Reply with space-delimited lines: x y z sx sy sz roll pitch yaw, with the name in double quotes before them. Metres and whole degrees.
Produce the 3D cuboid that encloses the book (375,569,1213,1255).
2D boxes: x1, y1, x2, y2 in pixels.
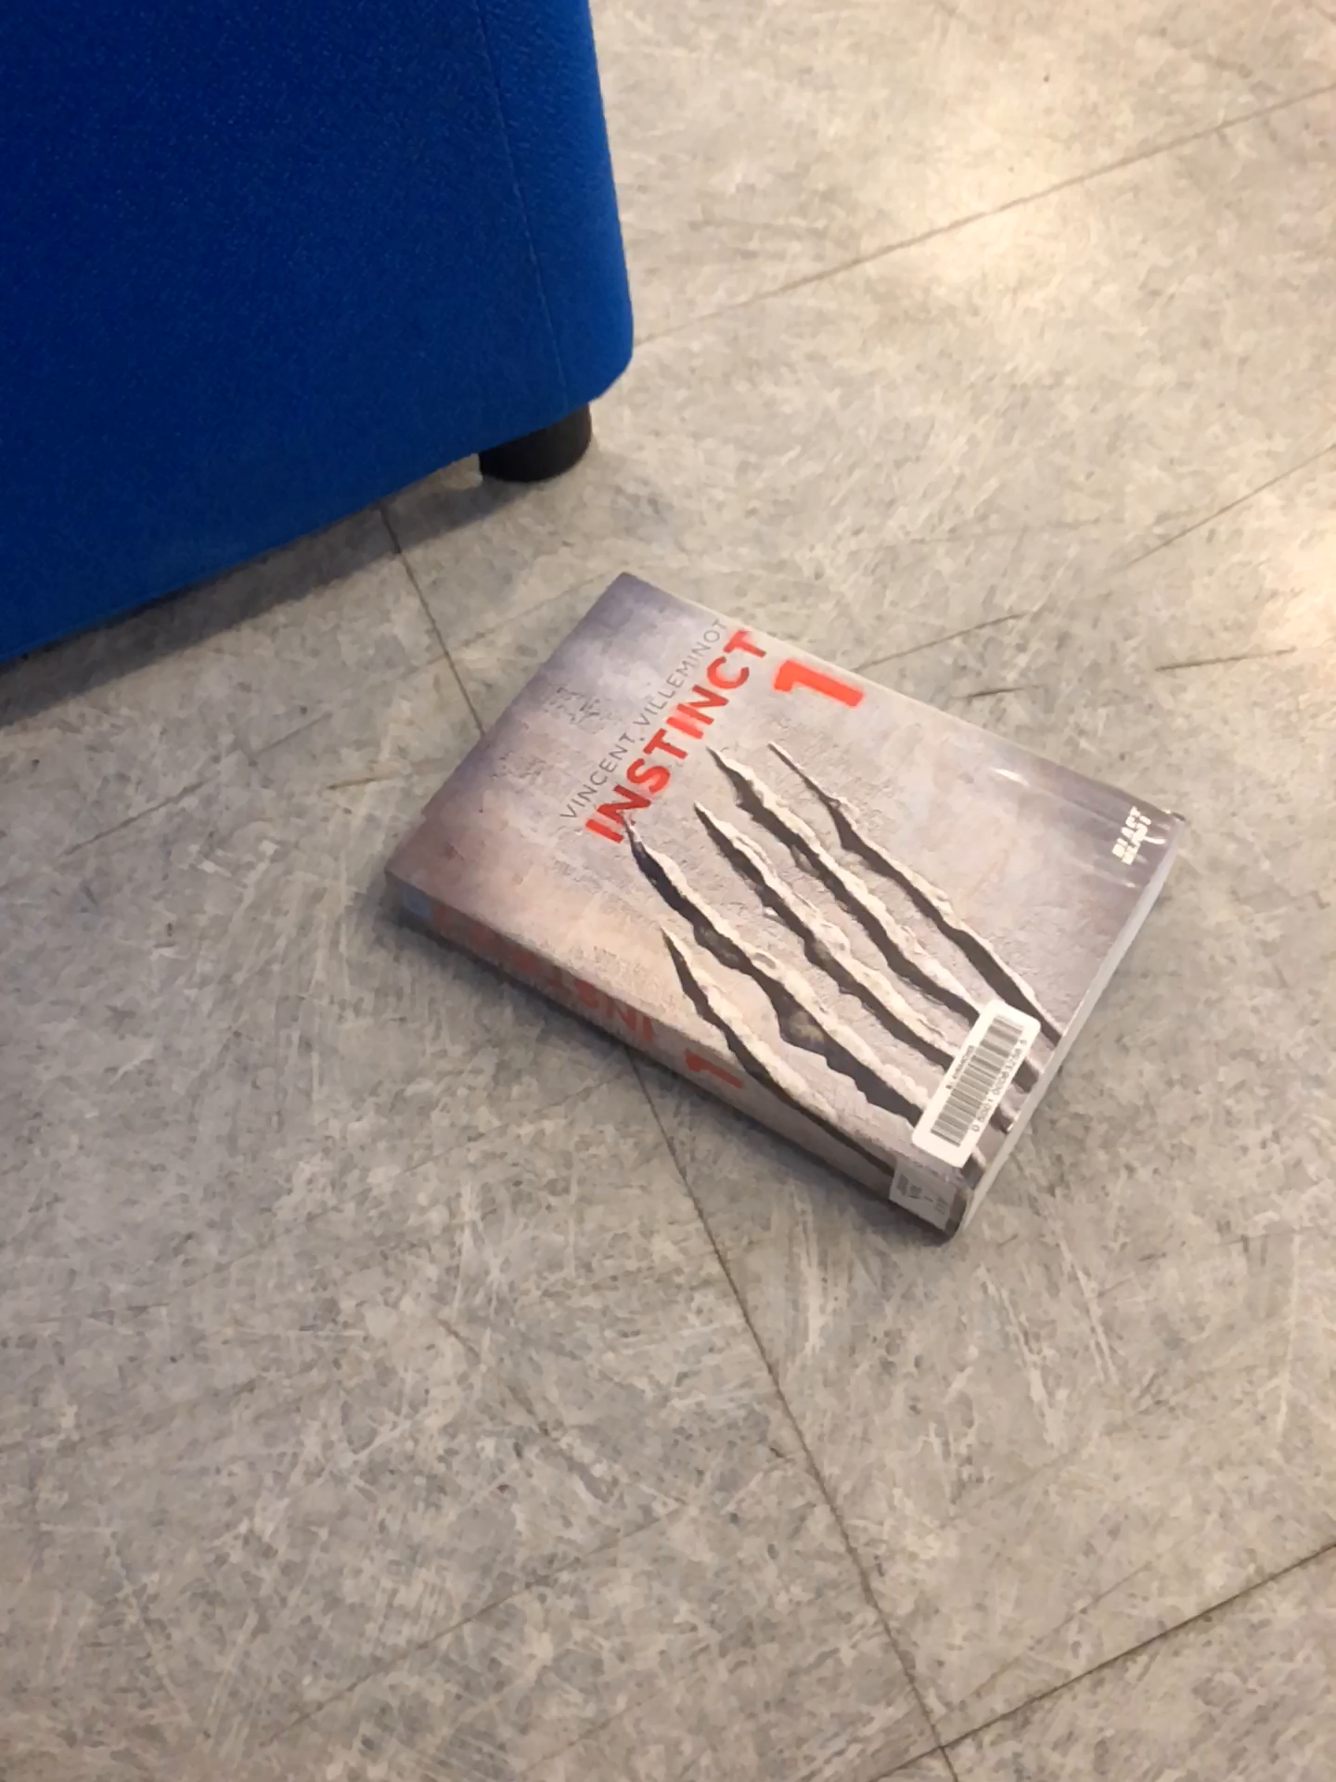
"book" 0.037 -0.005 0.458 0.210 0.028 0.142 28 66 20
